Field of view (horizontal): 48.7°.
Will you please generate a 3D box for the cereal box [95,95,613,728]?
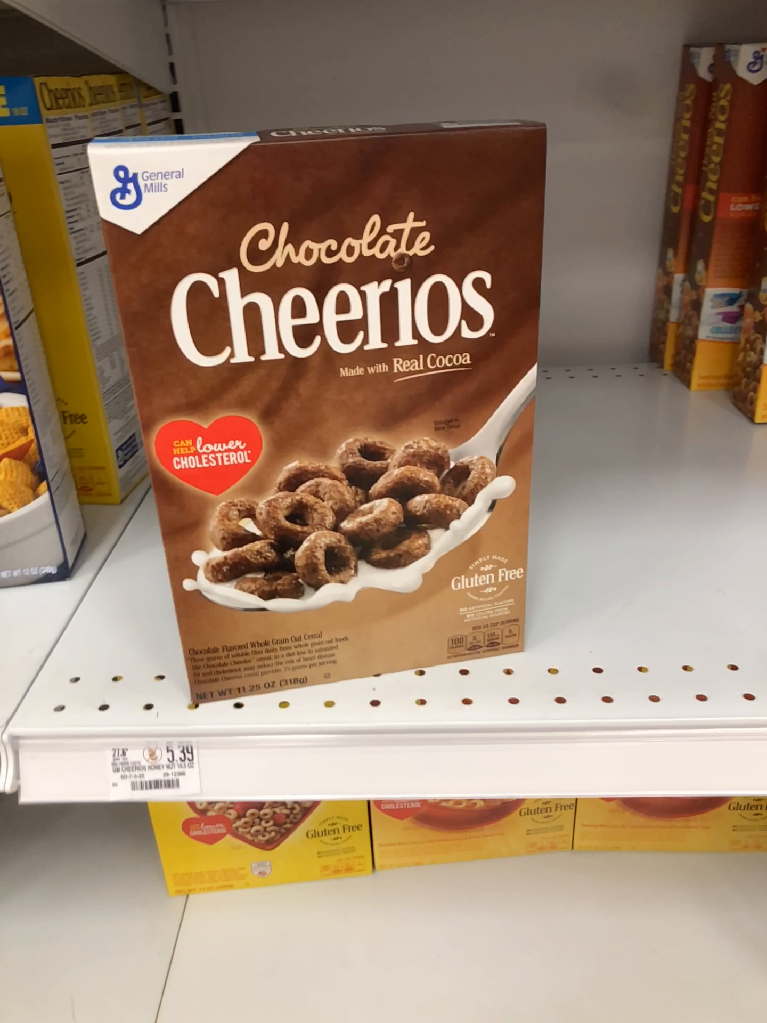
[{"bbox_3d":[-0.005,-0.037,0.421,0.200,0.289,0.060,-7,30,-7],"label":"cereal box"}]
